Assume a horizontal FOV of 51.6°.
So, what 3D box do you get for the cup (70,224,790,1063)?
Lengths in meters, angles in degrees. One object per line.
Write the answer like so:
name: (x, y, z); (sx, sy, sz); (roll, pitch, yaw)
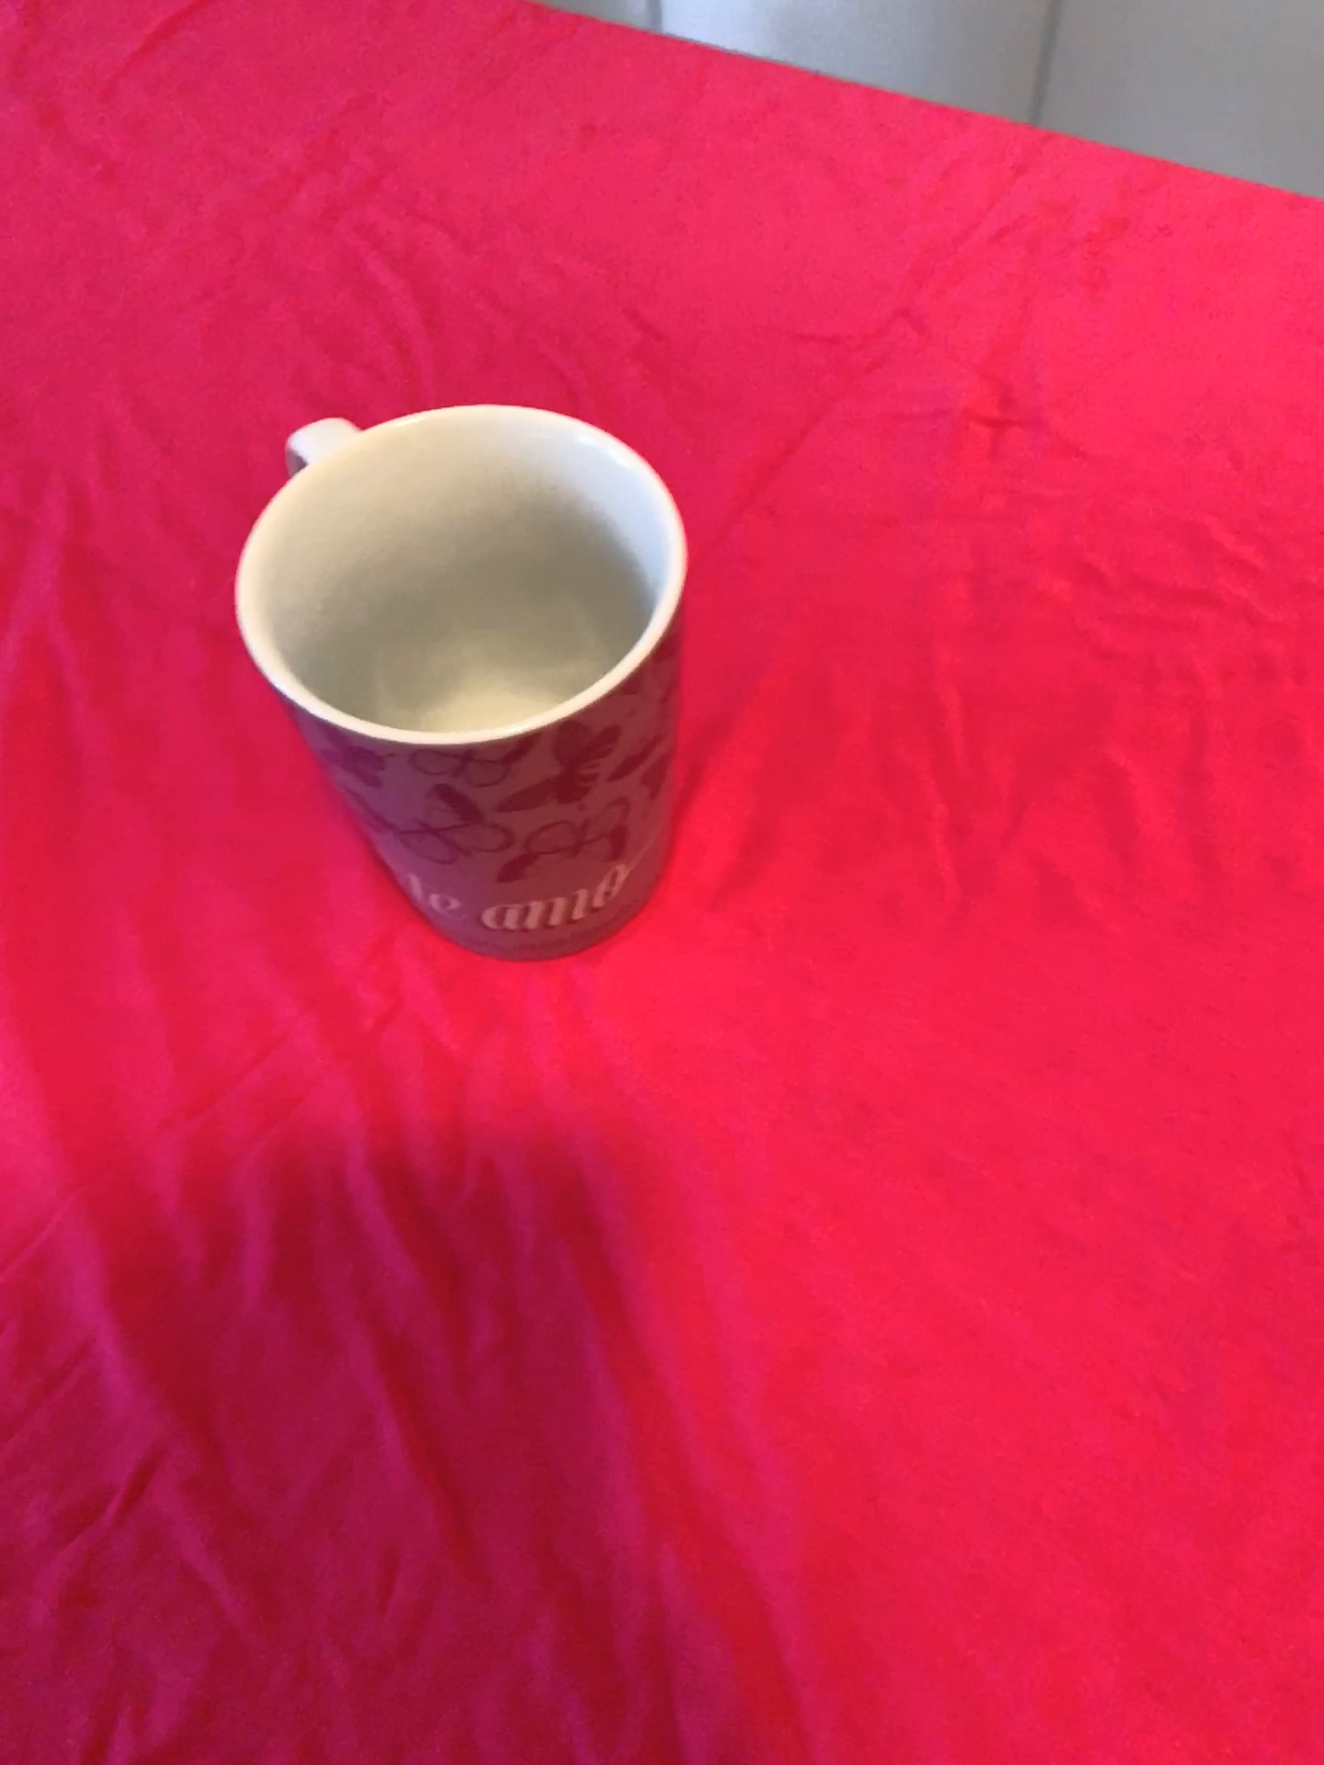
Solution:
cup: (-0.041, -0.046, 0.279); (0.080, 0.100, 0.110); (-32, 63, -15)
